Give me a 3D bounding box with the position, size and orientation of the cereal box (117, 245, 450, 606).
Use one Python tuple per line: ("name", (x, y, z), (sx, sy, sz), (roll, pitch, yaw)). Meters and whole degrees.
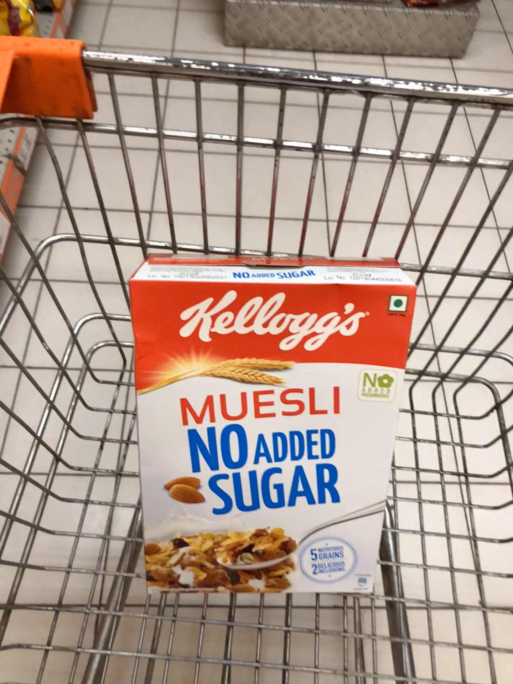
("cereal box", (0.010, 0.069, 0.408), (0.190, 0.259, 0.070), (1, 25, -3))
